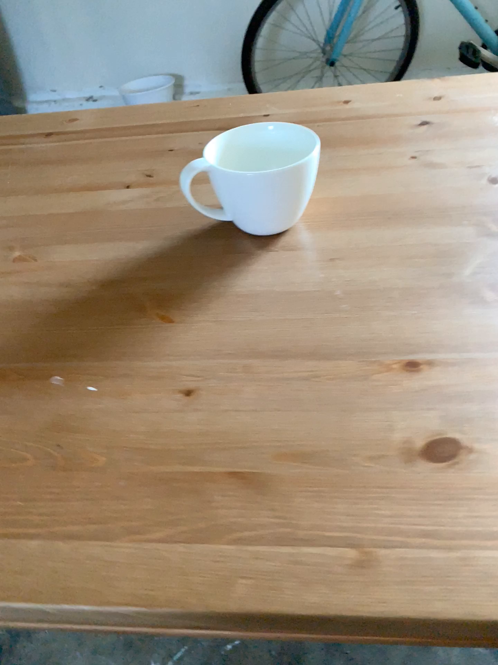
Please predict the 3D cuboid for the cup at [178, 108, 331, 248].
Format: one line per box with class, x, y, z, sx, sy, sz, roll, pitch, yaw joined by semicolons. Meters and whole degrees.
cup;0.003;-0.155;0.507;0.130;0.070;0.111;-10;45;-1
